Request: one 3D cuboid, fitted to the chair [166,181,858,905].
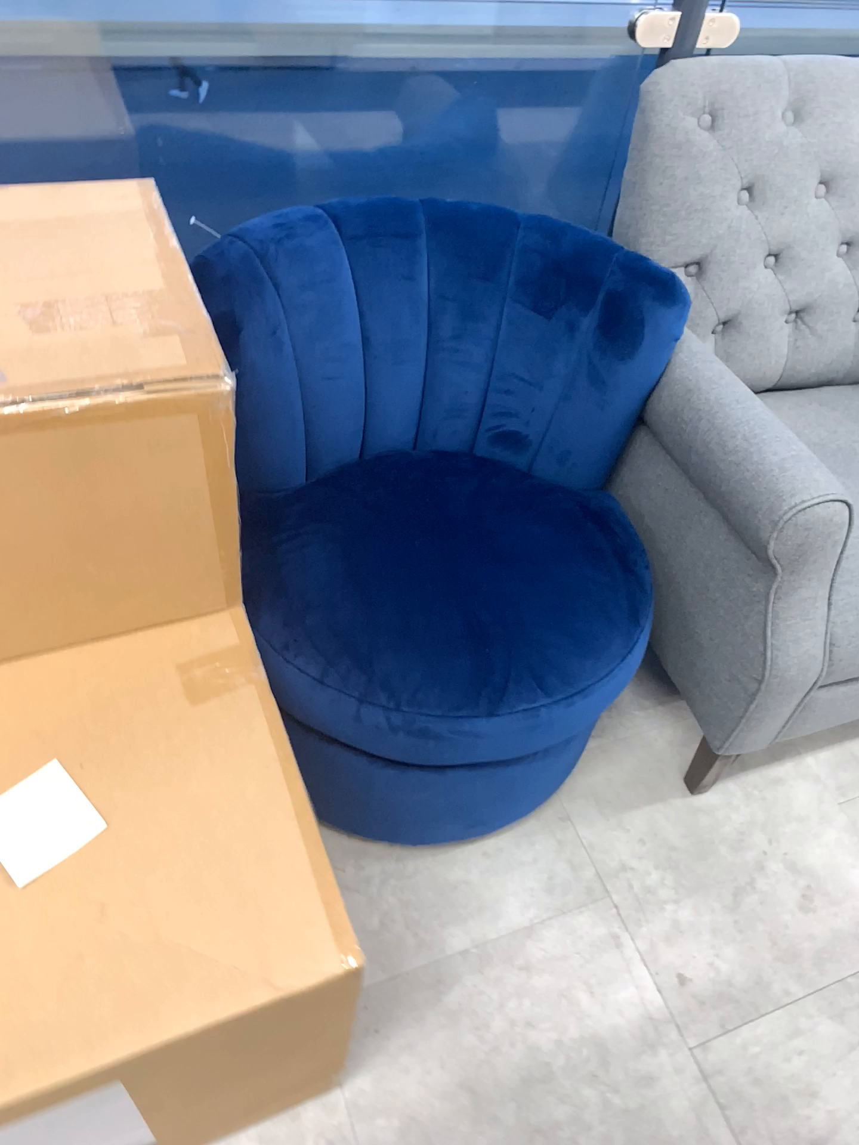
[{"bbox_3d":[0.011,-0.056,1.224,0.641,0.674,0.665,-6,49,-14],"label":"chair"}]
